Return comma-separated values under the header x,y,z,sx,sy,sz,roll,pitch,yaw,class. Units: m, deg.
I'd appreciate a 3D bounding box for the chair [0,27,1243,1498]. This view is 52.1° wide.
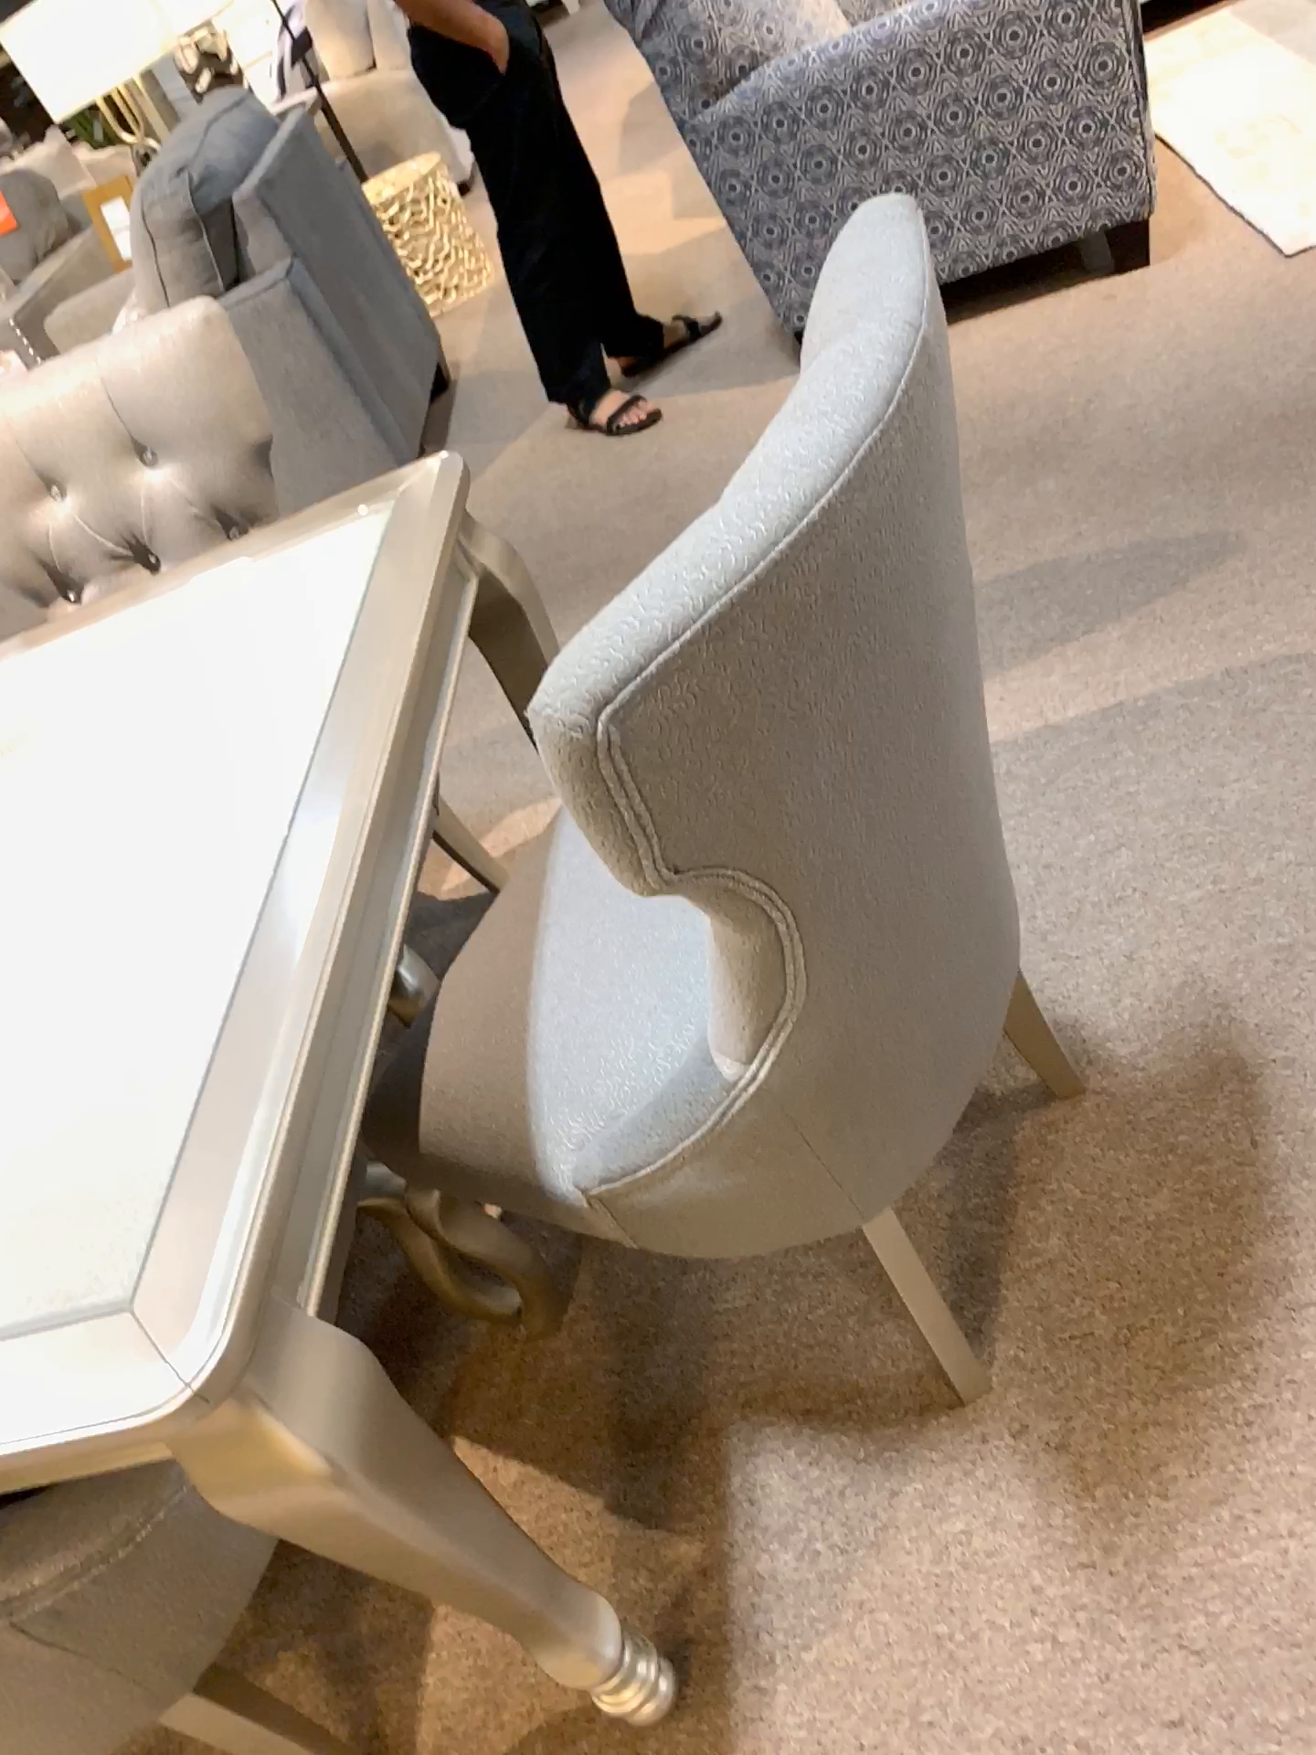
x,y,z,sx,sy,sz,roll,pitch,yaw,class
0.039,-0.032,1.174,0.682,0.915,0.581,3,48,35,chair
